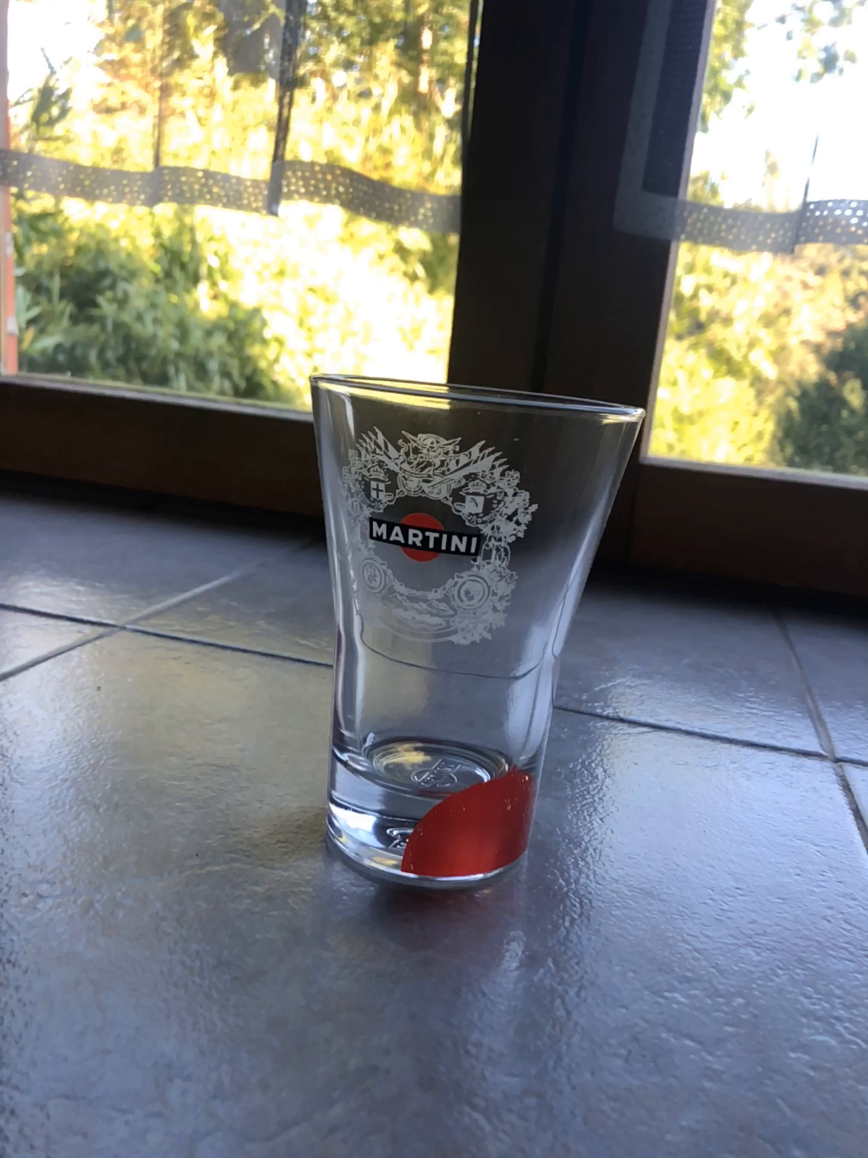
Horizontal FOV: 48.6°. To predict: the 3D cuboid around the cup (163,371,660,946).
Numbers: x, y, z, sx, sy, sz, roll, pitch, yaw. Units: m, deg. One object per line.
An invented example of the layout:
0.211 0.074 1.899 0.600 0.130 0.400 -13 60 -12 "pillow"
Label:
-0.003 0.008 0.260 0.095 0.116 0.093 5 14 -1 "cup"
